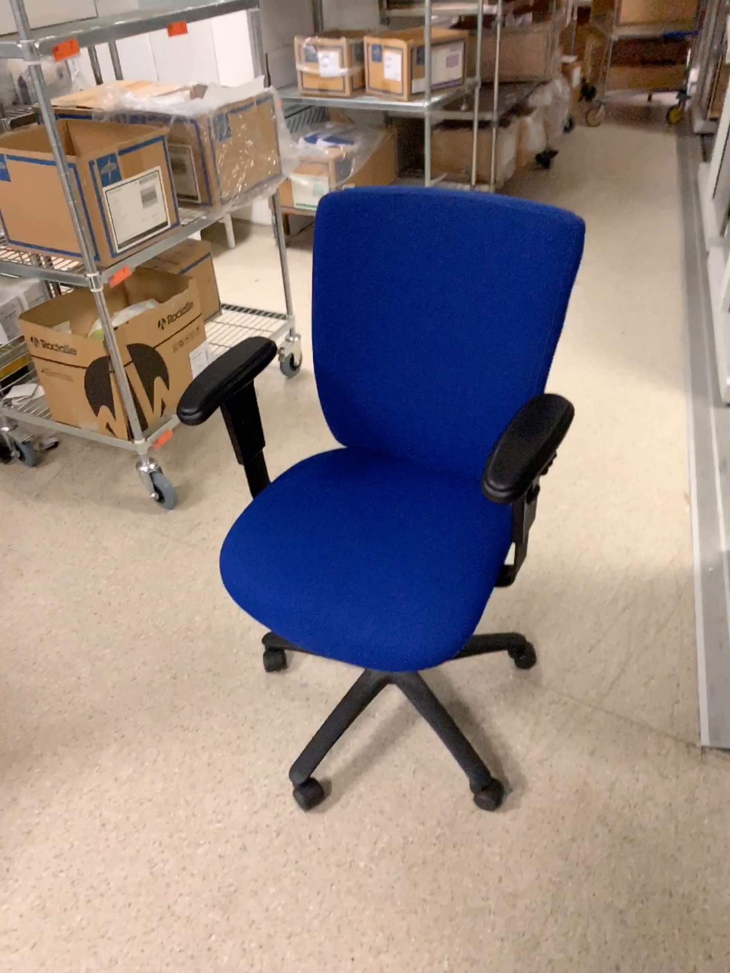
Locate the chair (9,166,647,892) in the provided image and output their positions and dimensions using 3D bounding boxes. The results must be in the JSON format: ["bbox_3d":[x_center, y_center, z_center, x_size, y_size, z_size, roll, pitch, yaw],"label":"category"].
[{"bbox_3d":[0.036,0.023,1.372,0.671,0.931,0.766,13,40,20],"label":"chair"}]
